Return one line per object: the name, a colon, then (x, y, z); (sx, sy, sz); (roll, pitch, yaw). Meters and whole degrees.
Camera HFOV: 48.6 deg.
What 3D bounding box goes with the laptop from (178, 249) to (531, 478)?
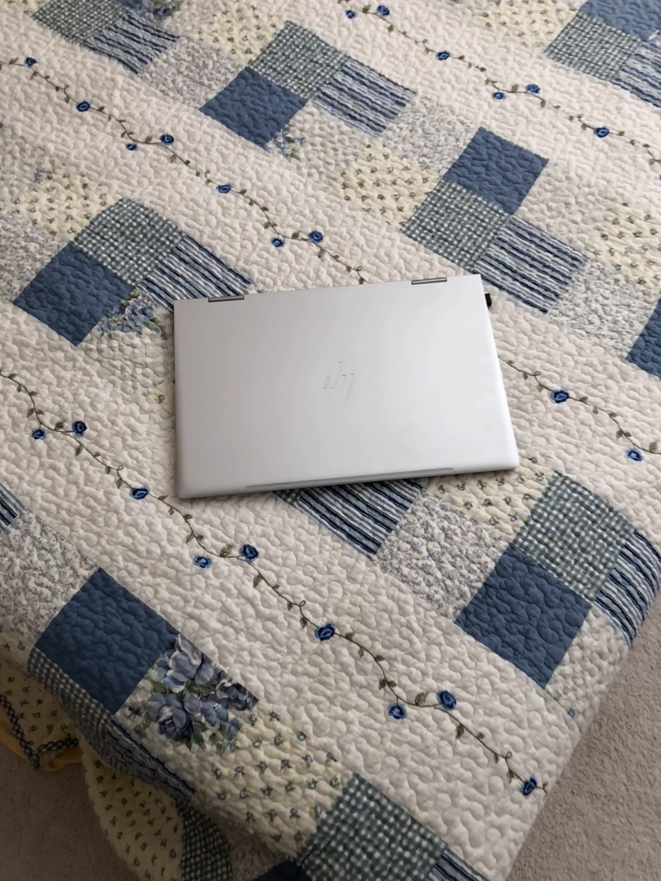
laptop: (0.017, -0.097, 0.864); (0.385, 0.011, 0.256); (-6, 70, 0)
